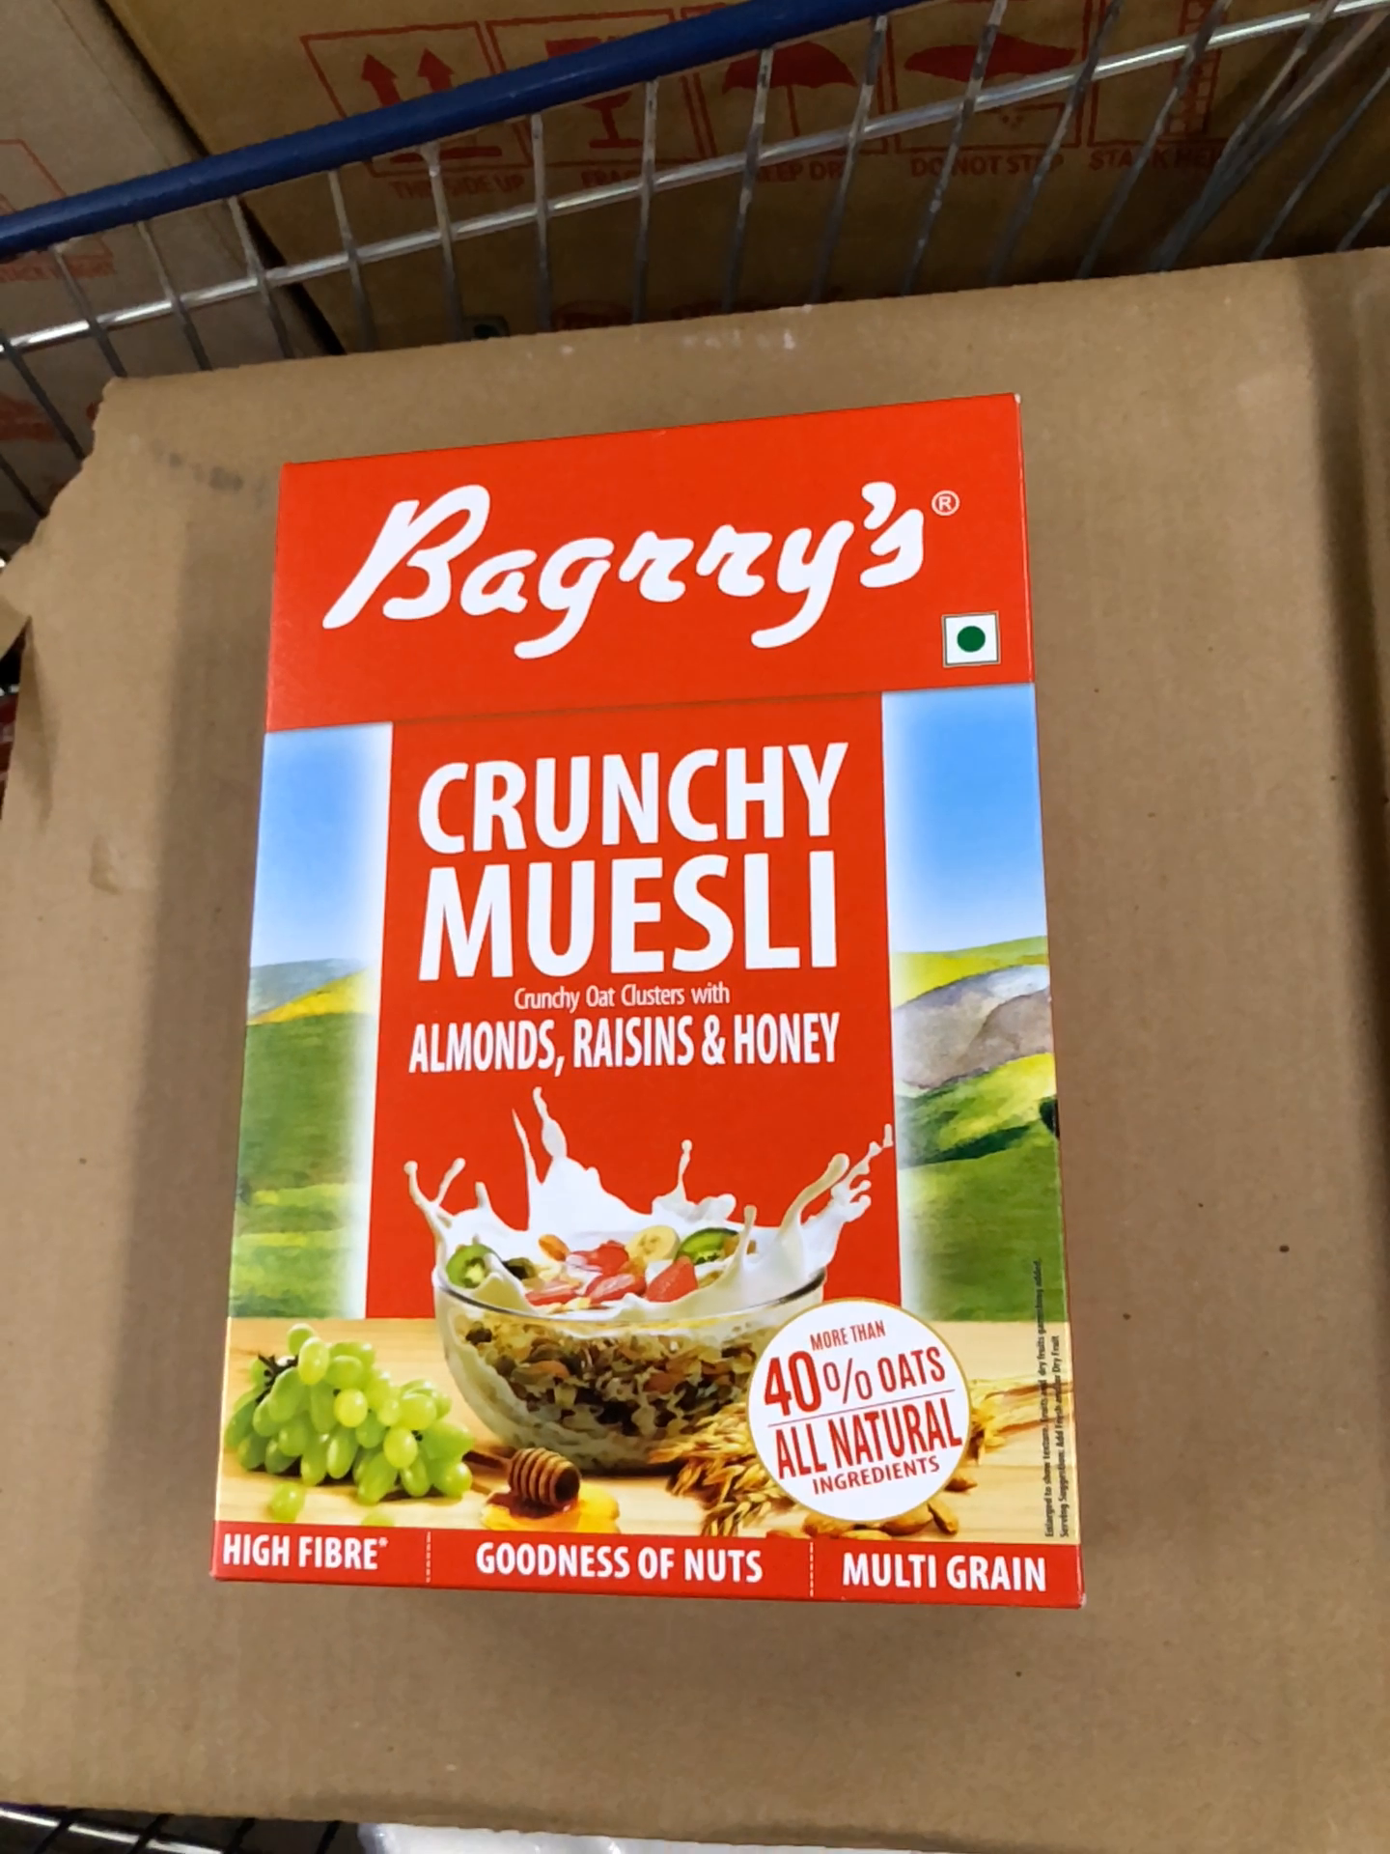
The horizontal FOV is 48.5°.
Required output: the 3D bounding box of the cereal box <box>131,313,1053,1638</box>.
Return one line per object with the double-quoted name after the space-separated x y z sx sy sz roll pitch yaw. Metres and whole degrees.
-0.019 0.009 0.350 0.180 0.070 0.260 -2 79 11 "cereal box"
